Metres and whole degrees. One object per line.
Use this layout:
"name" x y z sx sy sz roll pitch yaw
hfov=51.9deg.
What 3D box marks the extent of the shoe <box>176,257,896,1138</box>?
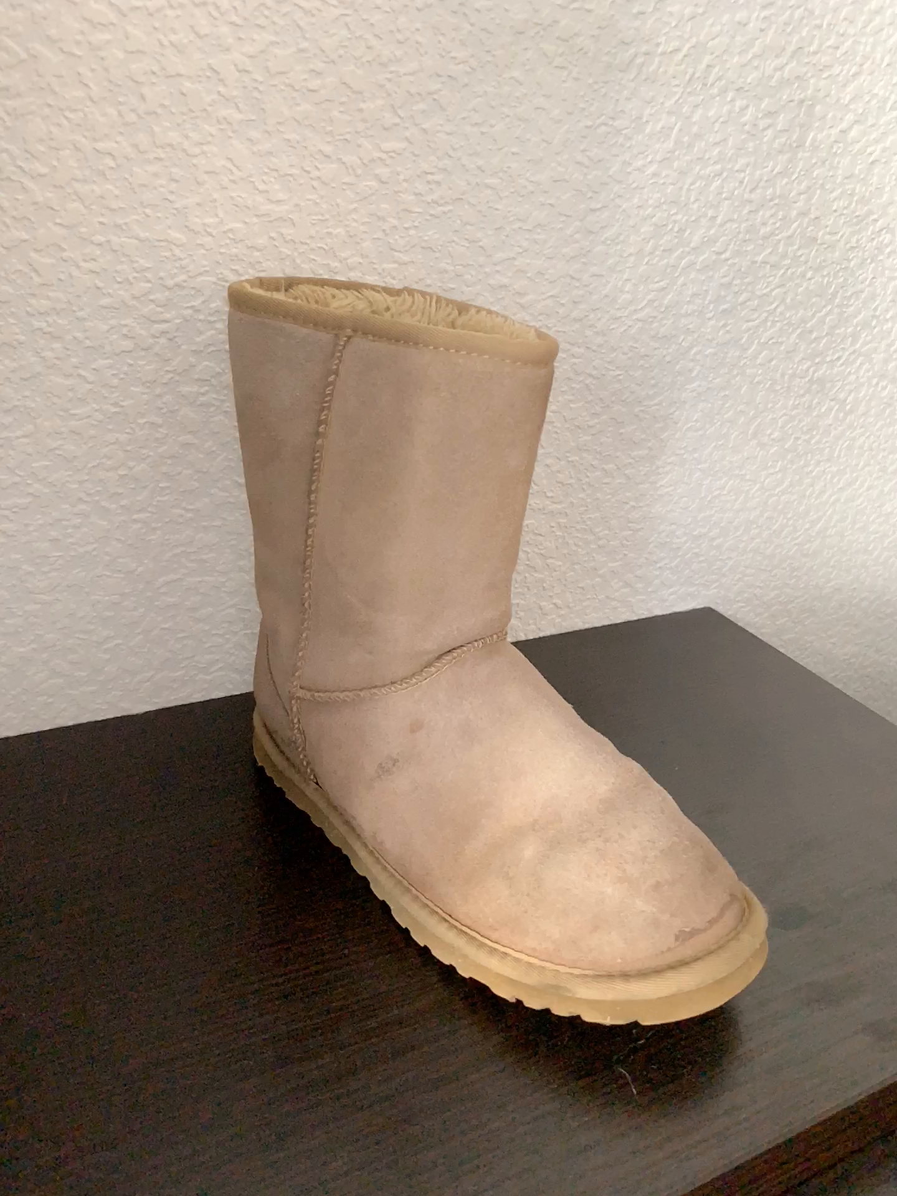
"shoe" 0.019 0.004 0.359 0.116 0.229 0.261 -19 34 -41
